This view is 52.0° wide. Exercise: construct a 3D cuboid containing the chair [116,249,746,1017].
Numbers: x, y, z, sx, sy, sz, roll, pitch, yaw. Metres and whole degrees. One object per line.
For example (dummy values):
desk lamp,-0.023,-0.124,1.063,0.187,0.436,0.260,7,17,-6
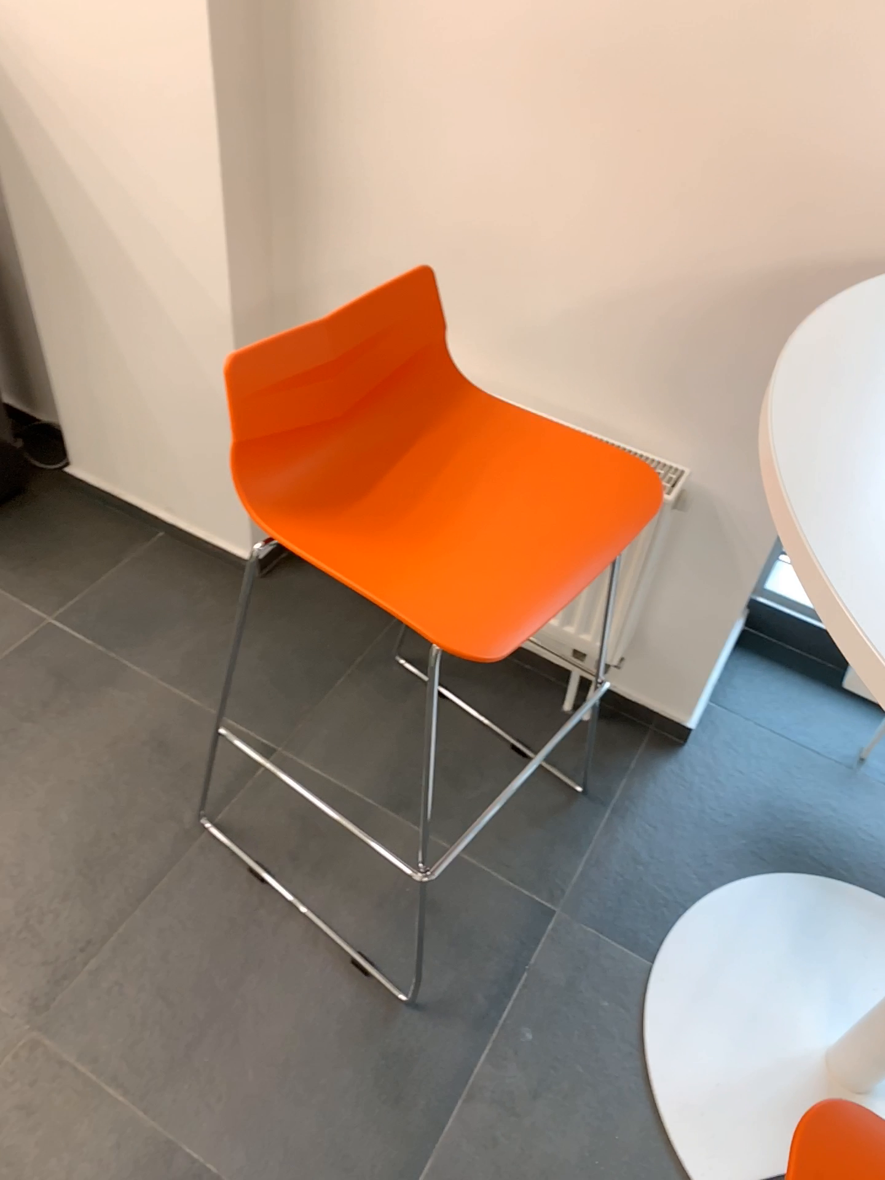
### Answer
chair,-0.034,0.085,1.387,0.501,0.905,0.572,32,49,23
